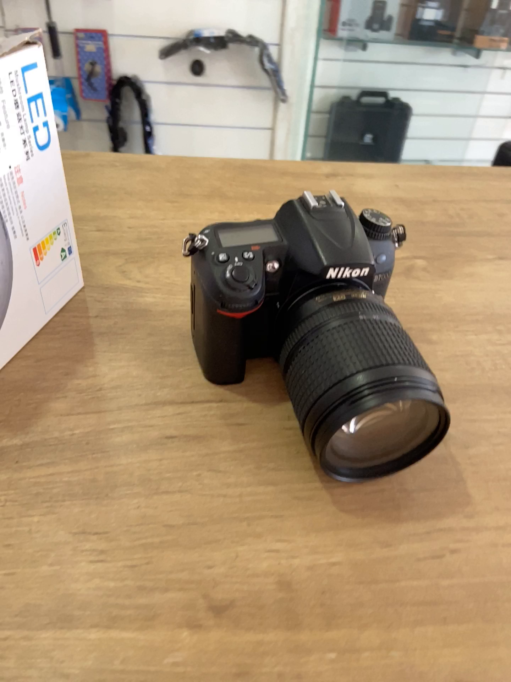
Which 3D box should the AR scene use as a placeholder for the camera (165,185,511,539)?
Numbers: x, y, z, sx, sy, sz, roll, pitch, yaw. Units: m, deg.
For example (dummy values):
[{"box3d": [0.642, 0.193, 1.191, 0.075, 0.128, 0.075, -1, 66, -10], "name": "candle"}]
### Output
[{"box3d": [0.035, -0.003, 0.300, 0.140, 0.099, 0.161, -9, 42, -15], "name": "camera"}]
